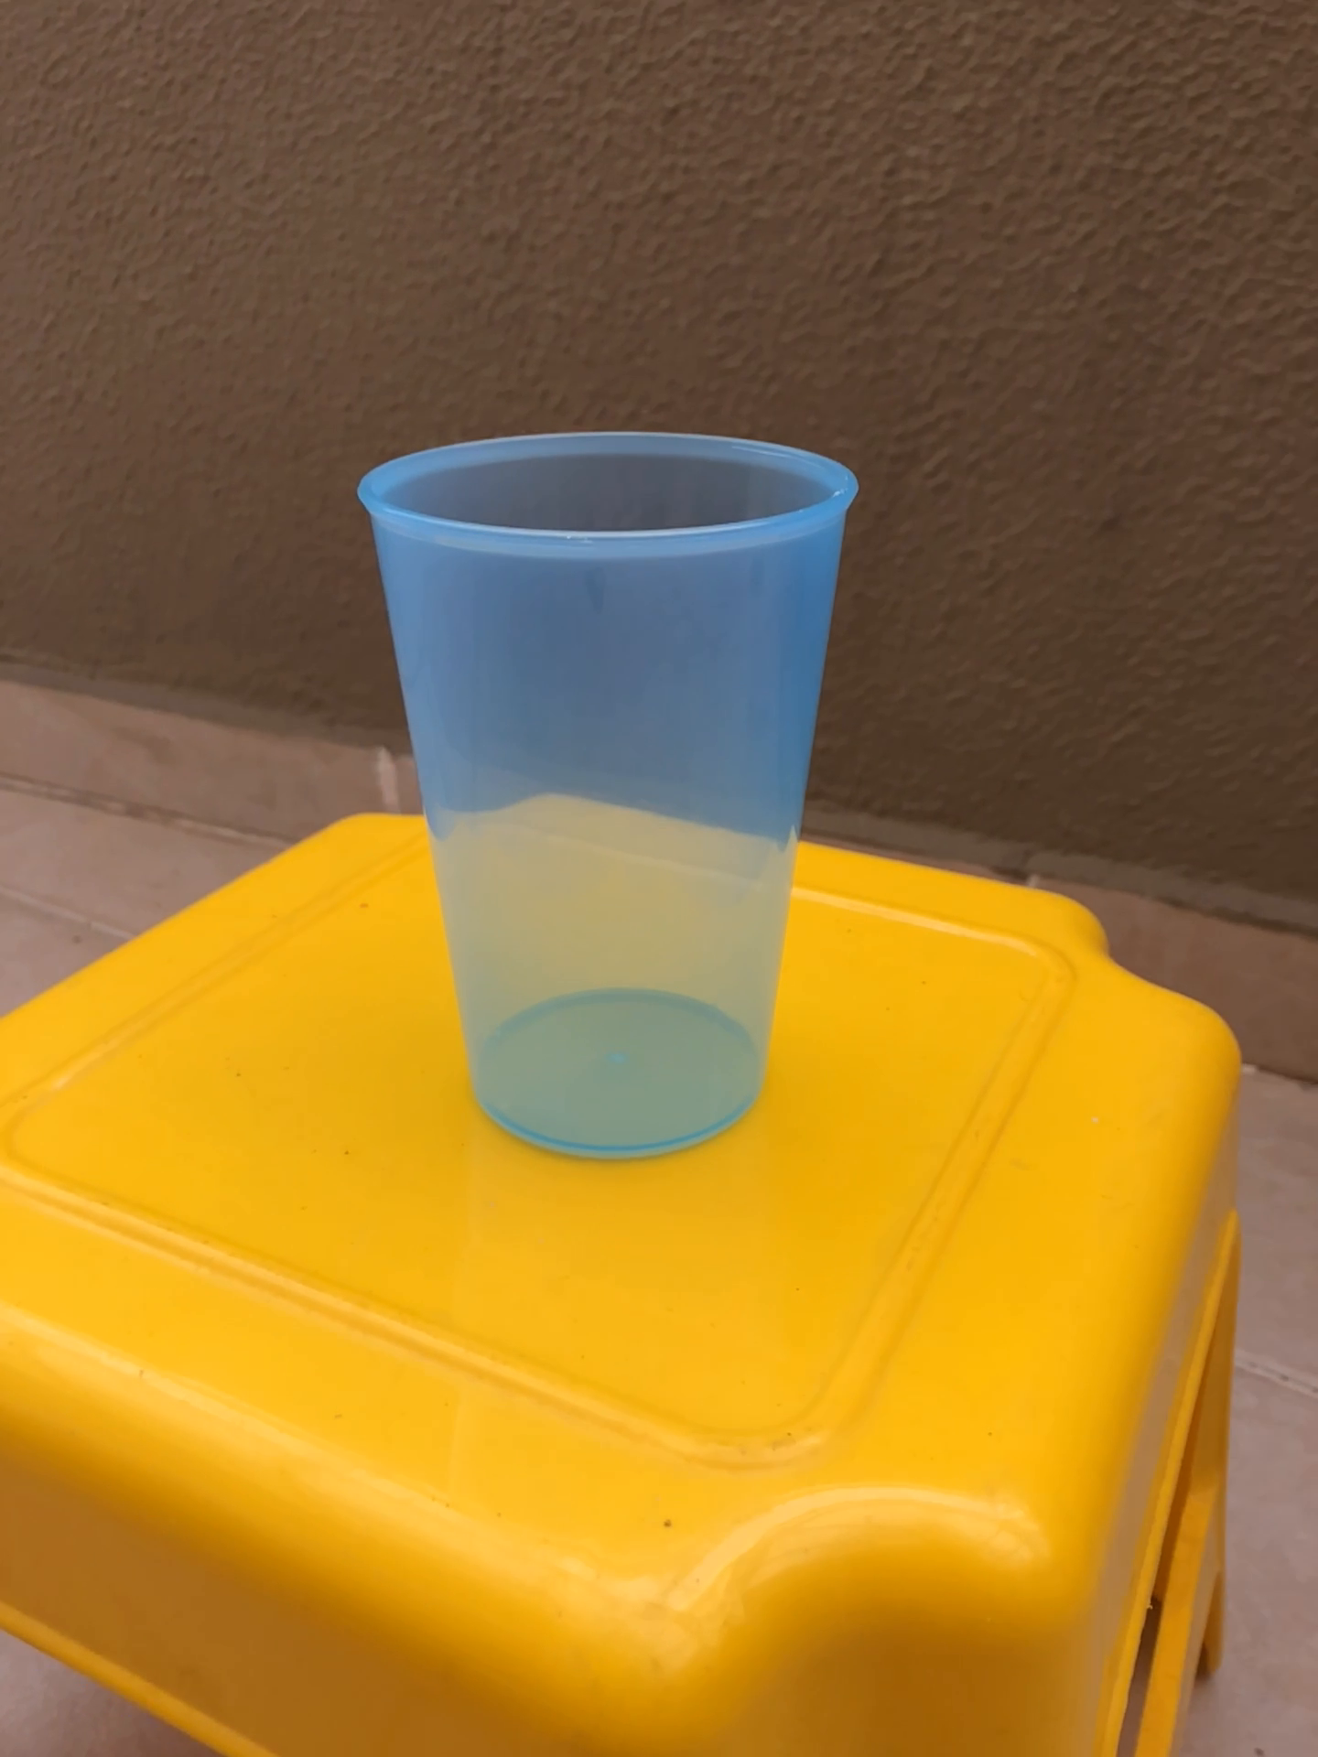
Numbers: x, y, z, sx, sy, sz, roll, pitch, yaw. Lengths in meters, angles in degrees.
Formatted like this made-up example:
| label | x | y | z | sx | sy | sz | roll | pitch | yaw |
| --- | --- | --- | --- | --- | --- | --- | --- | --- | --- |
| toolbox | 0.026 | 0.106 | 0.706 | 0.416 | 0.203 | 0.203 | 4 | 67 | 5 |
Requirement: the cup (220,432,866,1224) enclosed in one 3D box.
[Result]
| label | x | y | z | sx | sy | sz | roll | pitch | yaw |
| --- | --- | --- | --- | --- | --- | --- | --- | --- | --- |
| cup | -0.012 | -0.015 | 0.245 | 0.070 | 0.099 | 0.080 | 9 | 27 | 20 |
